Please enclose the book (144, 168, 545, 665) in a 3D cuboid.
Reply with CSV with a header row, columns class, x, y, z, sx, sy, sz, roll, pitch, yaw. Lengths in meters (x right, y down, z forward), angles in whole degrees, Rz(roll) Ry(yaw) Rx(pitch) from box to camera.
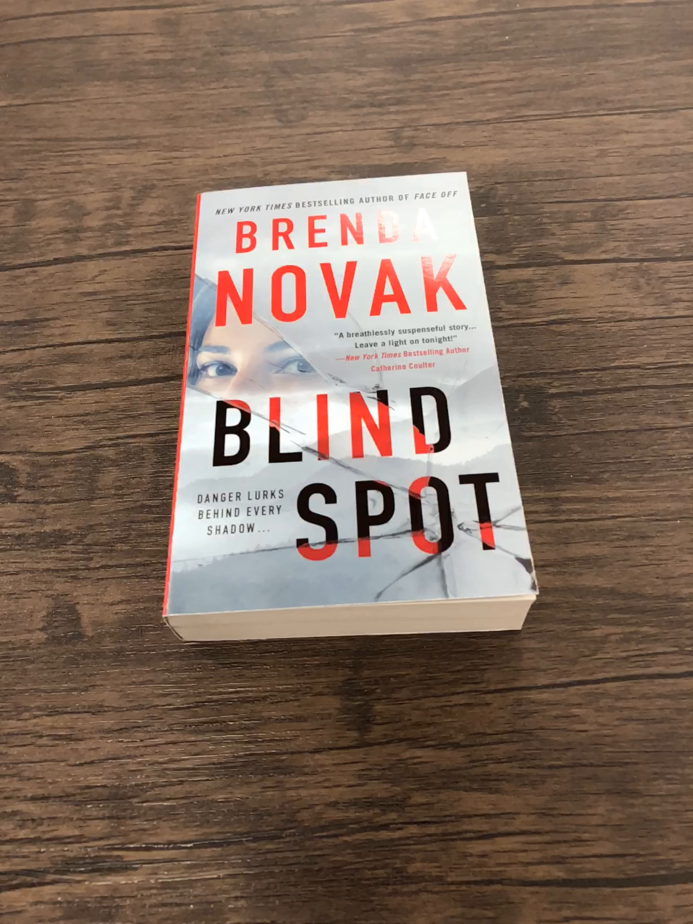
class,x,y,z,sx,sy,sz,roll,pitch,yaw
book,-0.004,-0.024,0.270,0.109,0.039,0.175,-3,61,0
